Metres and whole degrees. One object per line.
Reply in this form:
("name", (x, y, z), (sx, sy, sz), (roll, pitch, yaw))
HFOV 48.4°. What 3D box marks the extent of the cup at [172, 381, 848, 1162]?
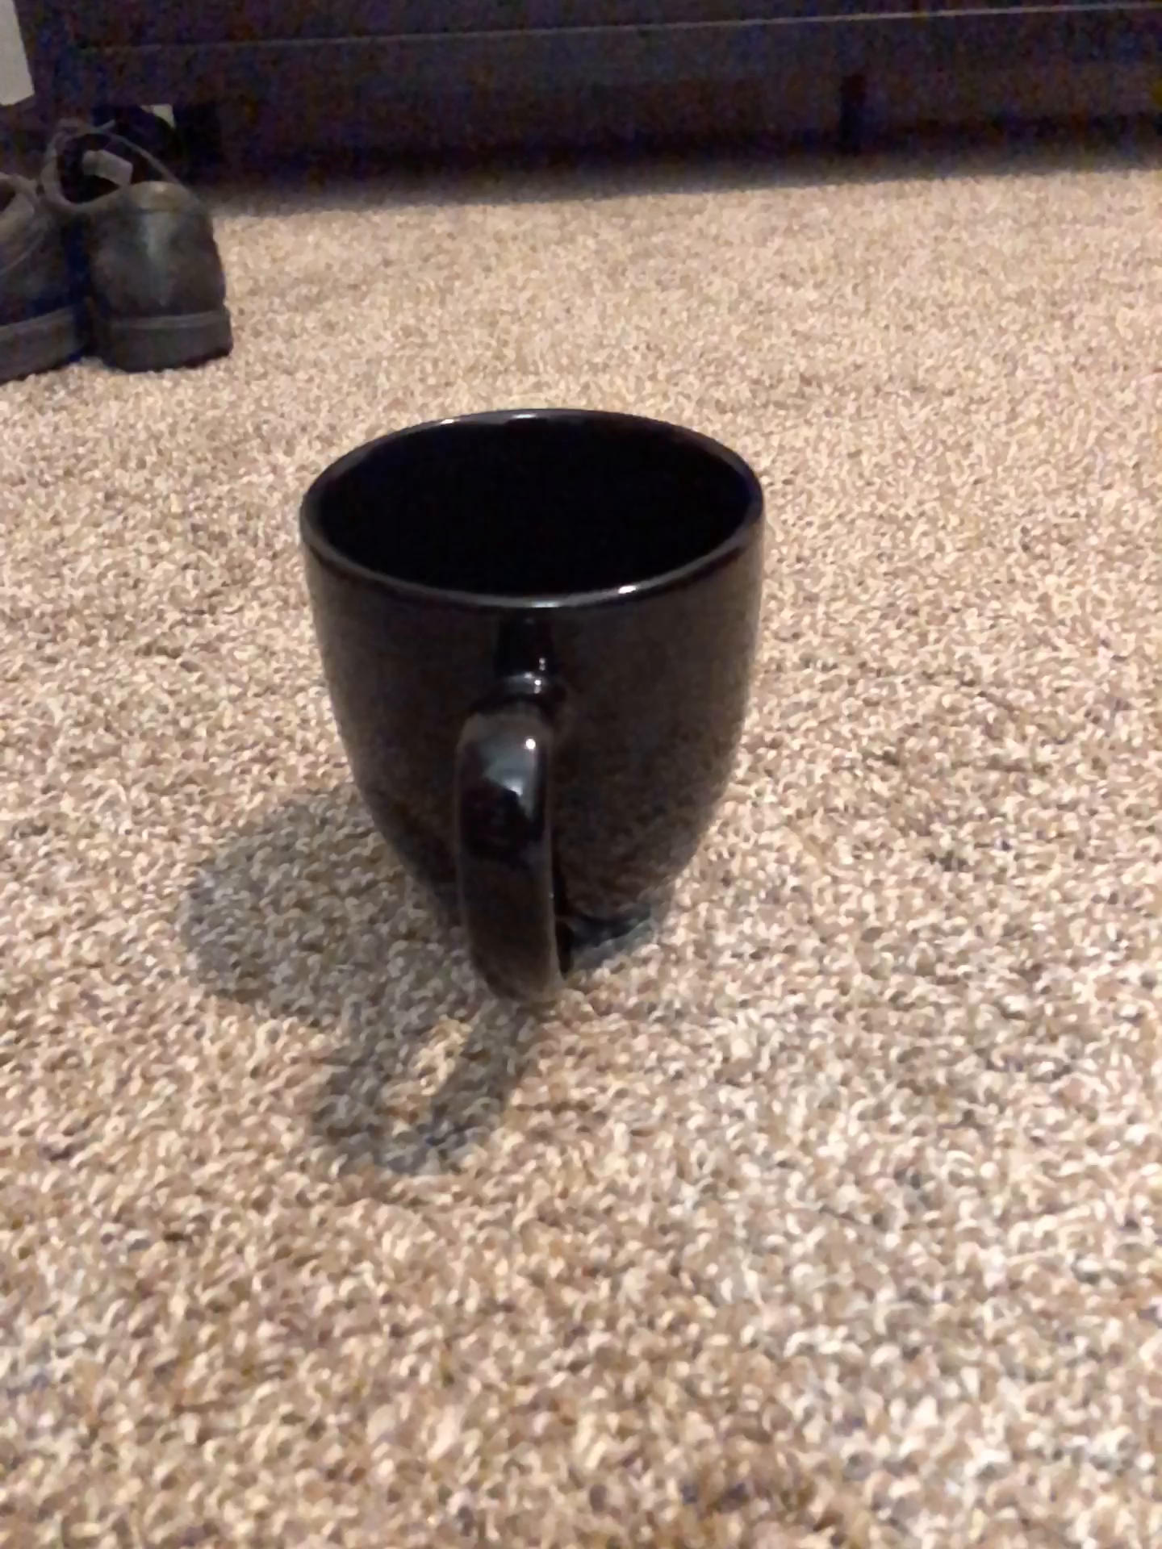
("cup", (-0.009, -0.011, 0.255), (0.090, 0.090, 0.141), (-3, 32, 1))
